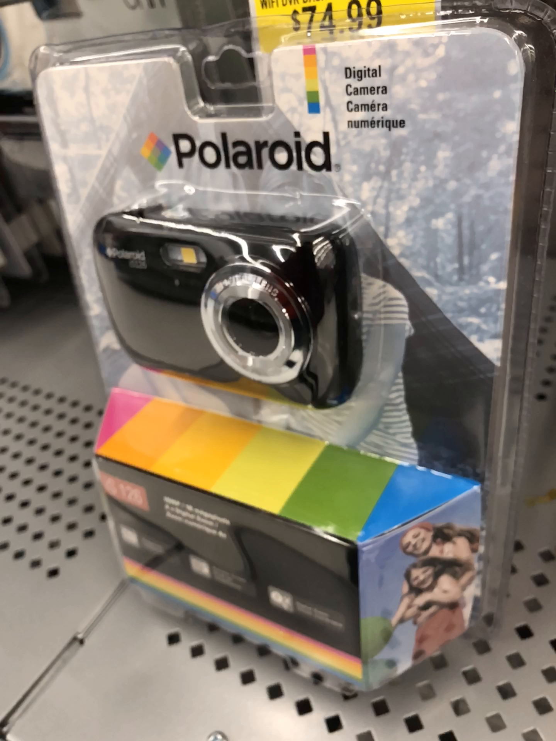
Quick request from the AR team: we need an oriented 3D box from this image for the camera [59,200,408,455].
[{"bbox_3d":[-0.013,-0.017,0.202,0.100,0.060,0.030,12,43,29],"label":"camera"}]
